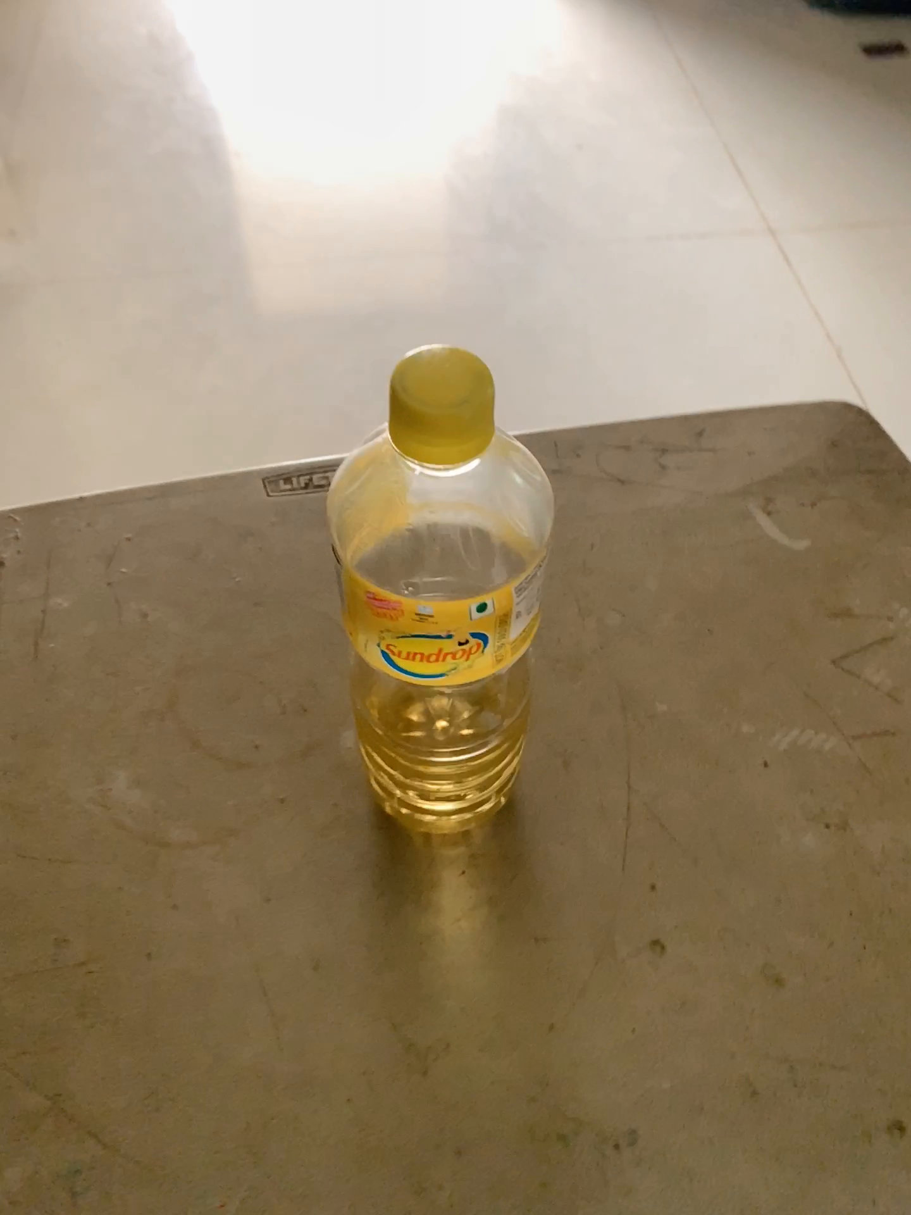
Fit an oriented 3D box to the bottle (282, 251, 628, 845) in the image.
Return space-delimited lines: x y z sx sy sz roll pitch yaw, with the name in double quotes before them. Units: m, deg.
"bottle" 0.000 0.003 0.380 0.090 0.270 0.090 0 56 -1
